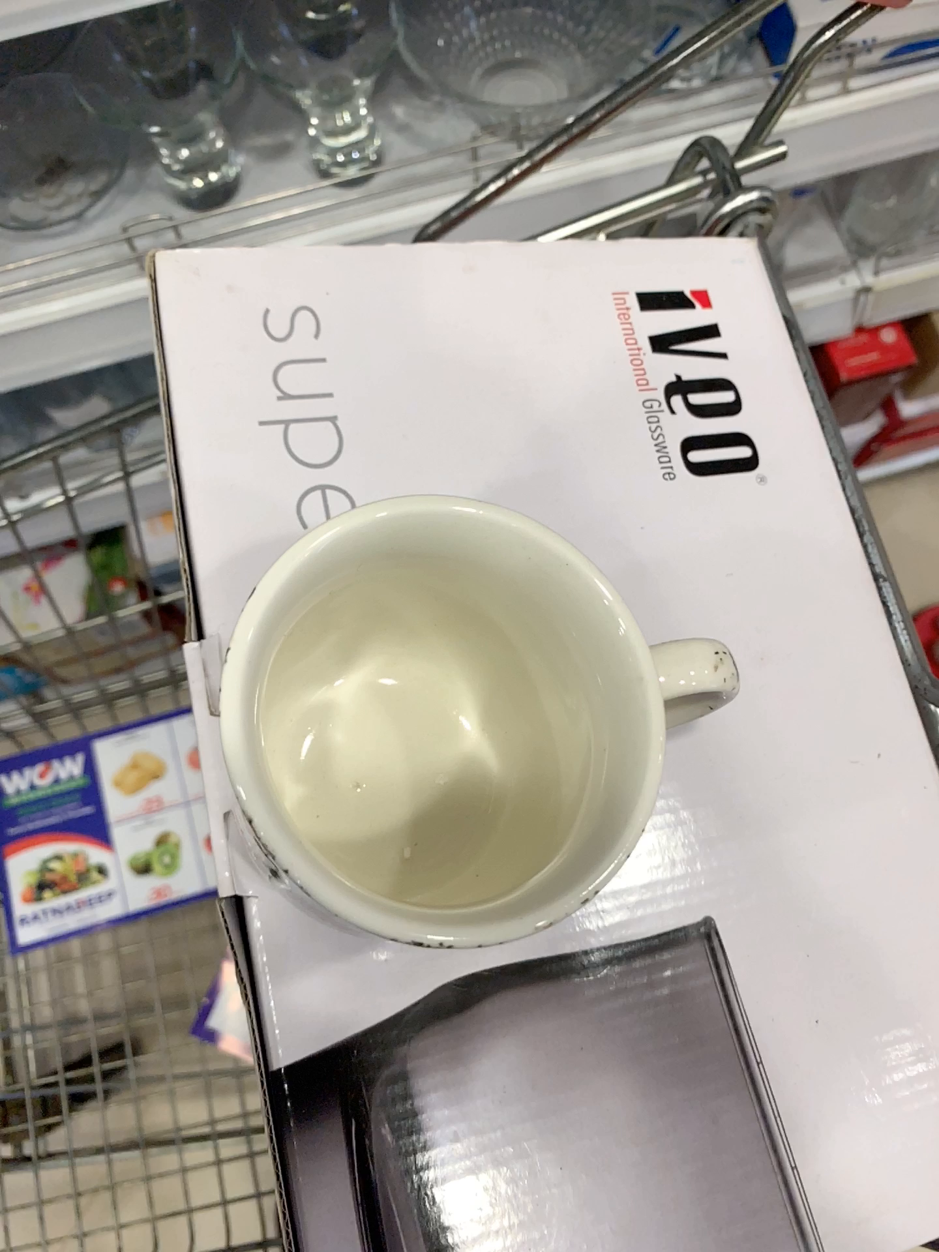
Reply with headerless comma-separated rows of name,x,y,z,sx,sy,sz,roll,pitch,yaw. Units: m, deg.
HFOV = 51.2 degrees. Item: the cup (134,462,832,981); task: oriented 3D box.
cup,-0.005,0.018,0.183,0.100,0.070,0.070,-6,74,-23
